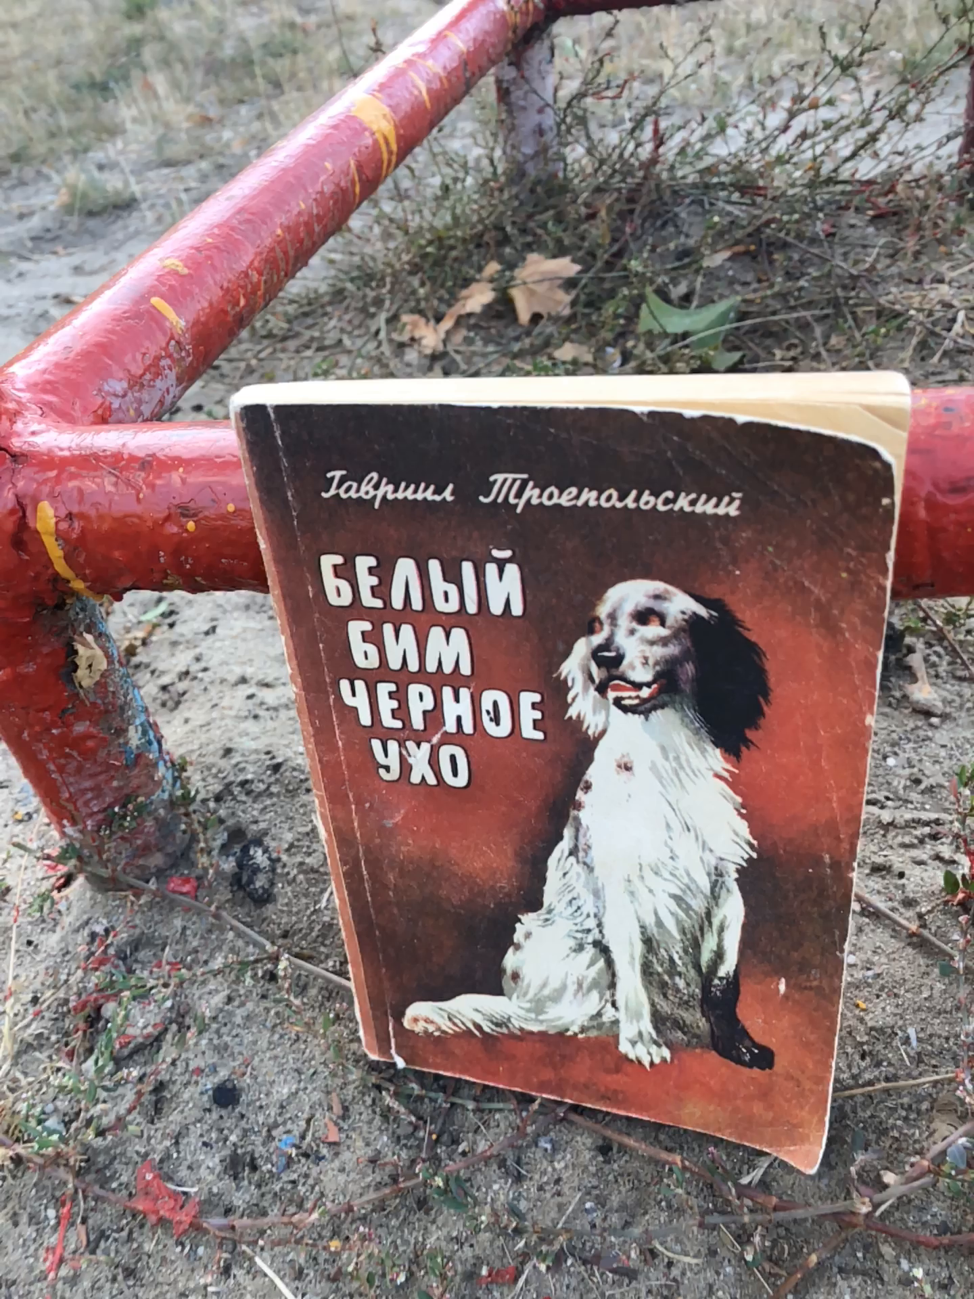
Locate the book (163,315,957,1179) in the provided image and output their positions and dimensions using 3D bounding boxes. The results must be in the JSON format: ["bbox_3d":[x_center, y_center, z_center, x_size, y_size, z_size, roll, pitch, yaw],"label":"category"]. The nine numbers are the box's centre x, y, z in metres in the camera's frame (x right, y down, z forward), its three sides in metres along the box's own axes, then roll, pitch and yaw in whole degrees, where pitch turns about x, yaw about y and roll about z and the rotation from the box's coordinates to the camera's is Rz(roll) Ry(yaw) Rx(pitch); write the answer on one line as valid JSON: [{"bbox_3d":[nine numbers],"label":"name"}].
[{"bbox_3d":[0.021,0.031,0.236,0.130,0.196,0.030,4,35,19],"label":"book"}]
